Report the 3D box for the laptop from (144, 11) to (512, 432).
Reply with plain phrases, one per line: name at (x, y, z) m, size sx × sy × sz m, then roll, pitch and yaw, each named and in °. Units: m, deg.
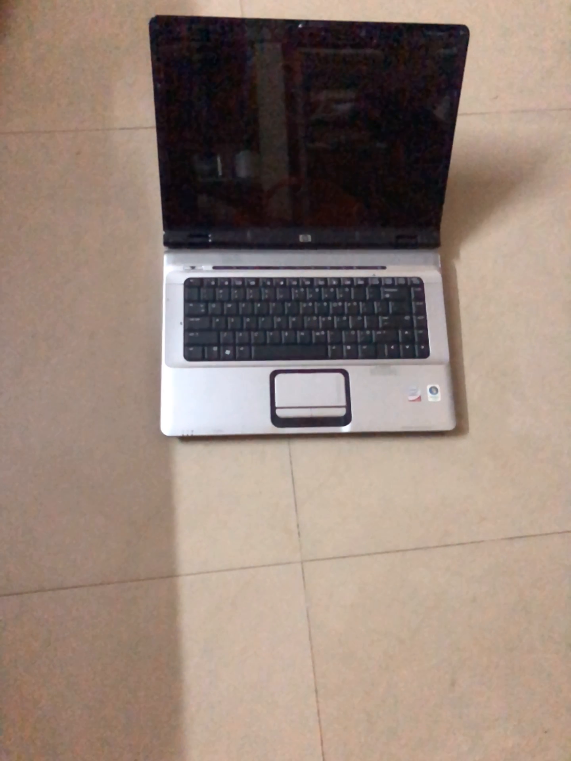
laptop at (0.031, -0.165, 0.701) m, size 0.338 × 0.167 × 0.410 m, roll -1°, pitch 76°, yaw -5°
